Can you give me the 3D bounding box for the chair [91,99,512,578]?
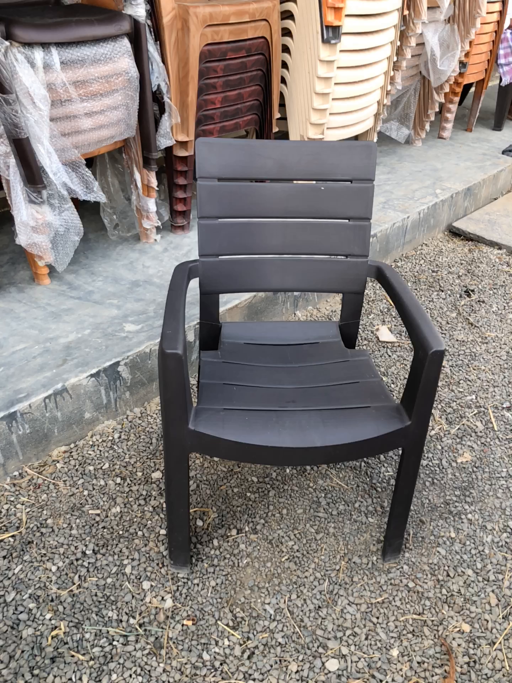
[{"bbox_3d":[0.039,-0.030,1.249,0.570,0.796,0.683,-1,36,-4],"label":"chair"}]
